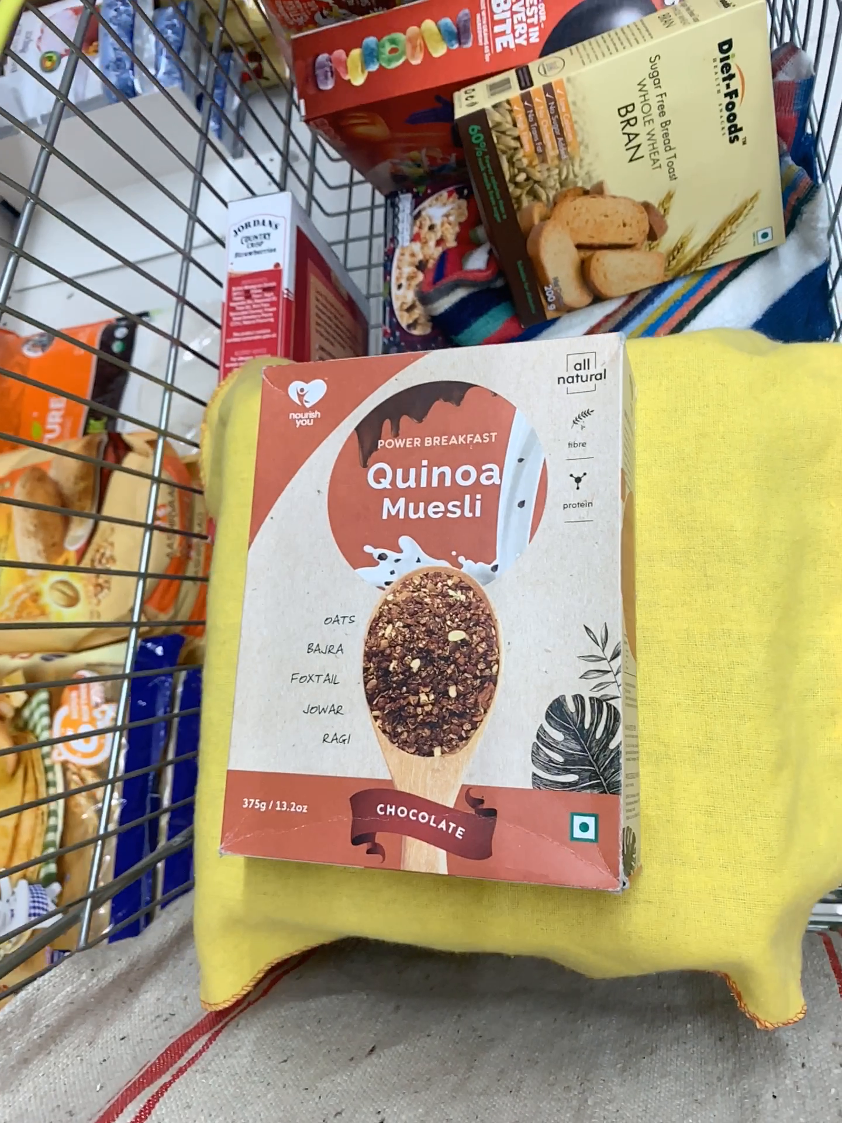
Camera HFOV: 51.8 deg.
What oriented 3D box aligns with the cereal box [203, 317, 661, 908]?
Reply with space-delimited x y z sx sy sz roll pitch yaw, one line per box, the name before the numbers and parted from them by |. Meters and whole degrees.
cereal box | 0.009 0.019 0.361 0.170 0.060 0.210 -1 78 19
